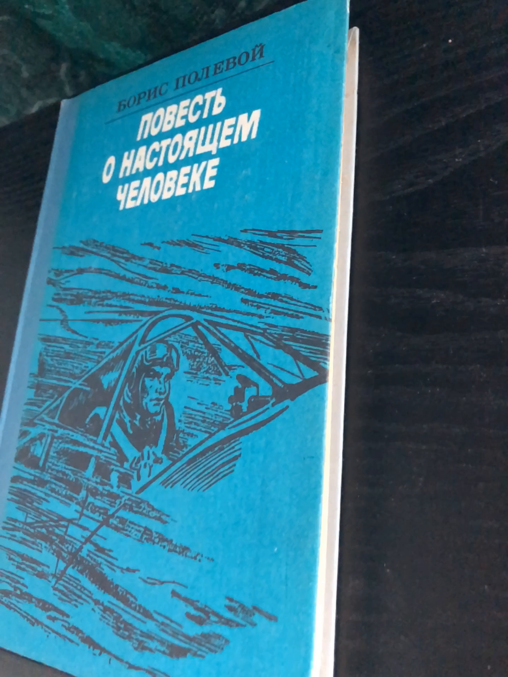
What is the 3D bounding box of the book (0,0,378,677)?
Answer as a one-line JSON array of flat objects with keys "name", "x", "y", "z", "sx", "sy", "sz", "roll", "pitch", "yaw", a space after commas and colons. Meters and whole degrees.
[{"name": "book", "x": -0.029, "y": -0.005, "z": 0.171, "sx": 0.123, "sy": 0.019, "sz": 0.190, "roll": -4, "pitch": 72, "yaw": 33}]
